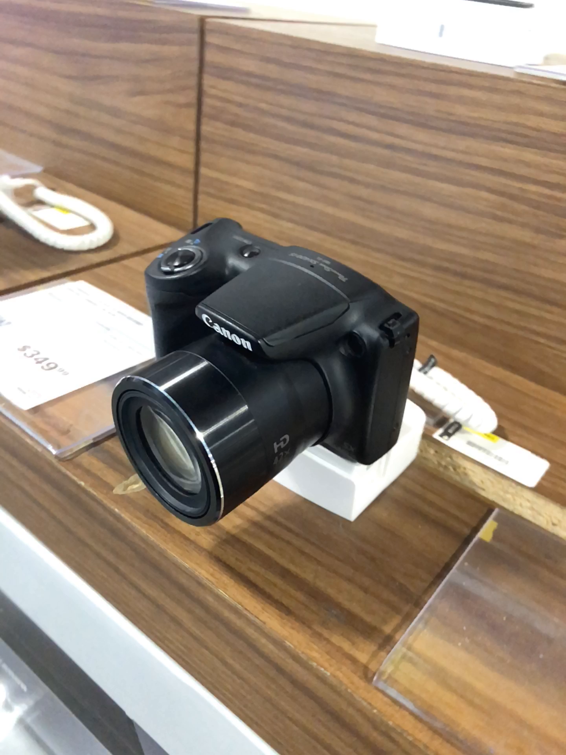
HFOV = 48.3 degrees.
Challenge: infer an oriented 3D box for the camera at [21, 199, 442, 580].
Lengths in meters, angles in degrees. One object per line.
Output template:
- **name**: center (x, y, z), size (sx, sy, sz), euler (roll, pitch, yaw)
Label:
- **camera**: center (-0.019, -0.007, 0.219), size (0.100, 0.070, 0.090), euler (28, 36, 30)
